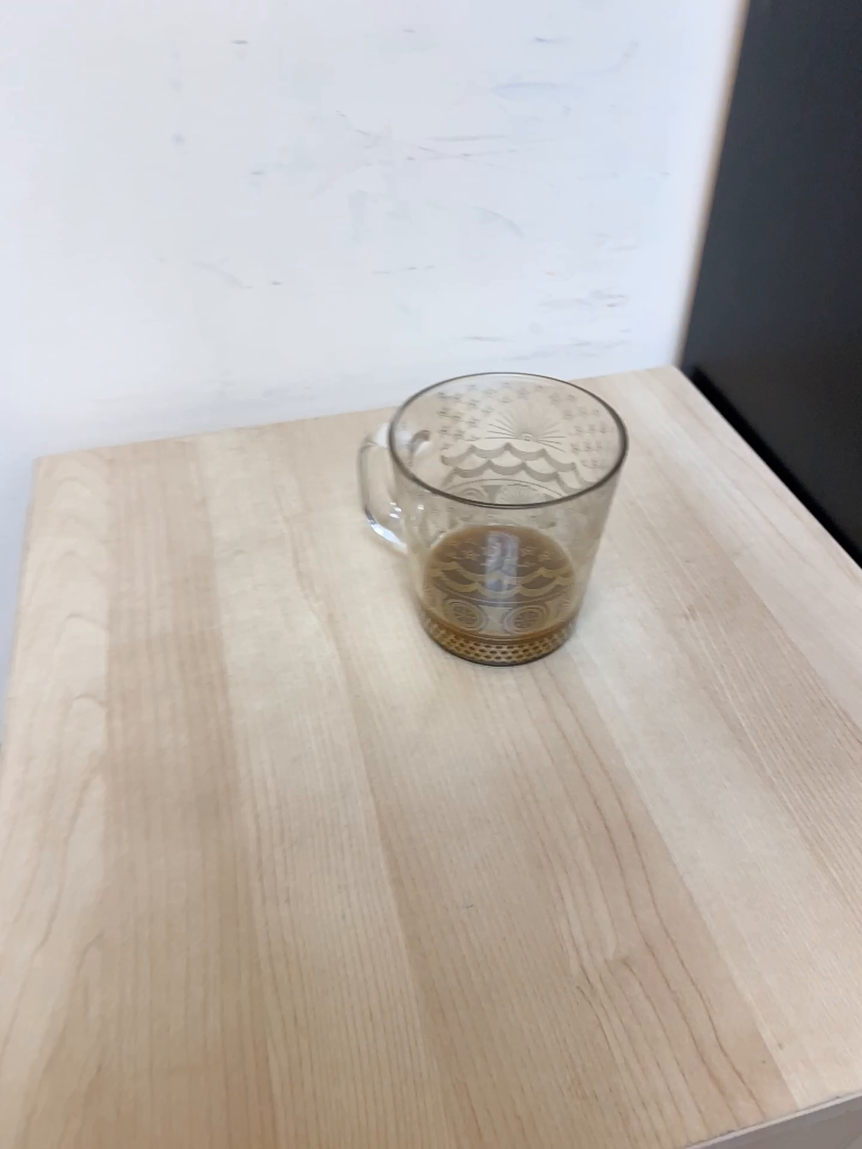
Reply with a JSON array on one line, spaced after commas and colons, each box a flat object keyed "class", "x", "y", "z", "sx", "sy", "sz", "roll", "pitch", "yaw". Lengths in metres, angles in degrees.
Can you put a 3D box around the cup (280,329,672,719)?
[{"class": "cup", "x": 0.019, "y": -0.028, "z": 0.389, "sx": 0.125, "sy": 0.098, "sz": 0.099, "roll": 25, "pitch": 48, "yaw": 26}]
